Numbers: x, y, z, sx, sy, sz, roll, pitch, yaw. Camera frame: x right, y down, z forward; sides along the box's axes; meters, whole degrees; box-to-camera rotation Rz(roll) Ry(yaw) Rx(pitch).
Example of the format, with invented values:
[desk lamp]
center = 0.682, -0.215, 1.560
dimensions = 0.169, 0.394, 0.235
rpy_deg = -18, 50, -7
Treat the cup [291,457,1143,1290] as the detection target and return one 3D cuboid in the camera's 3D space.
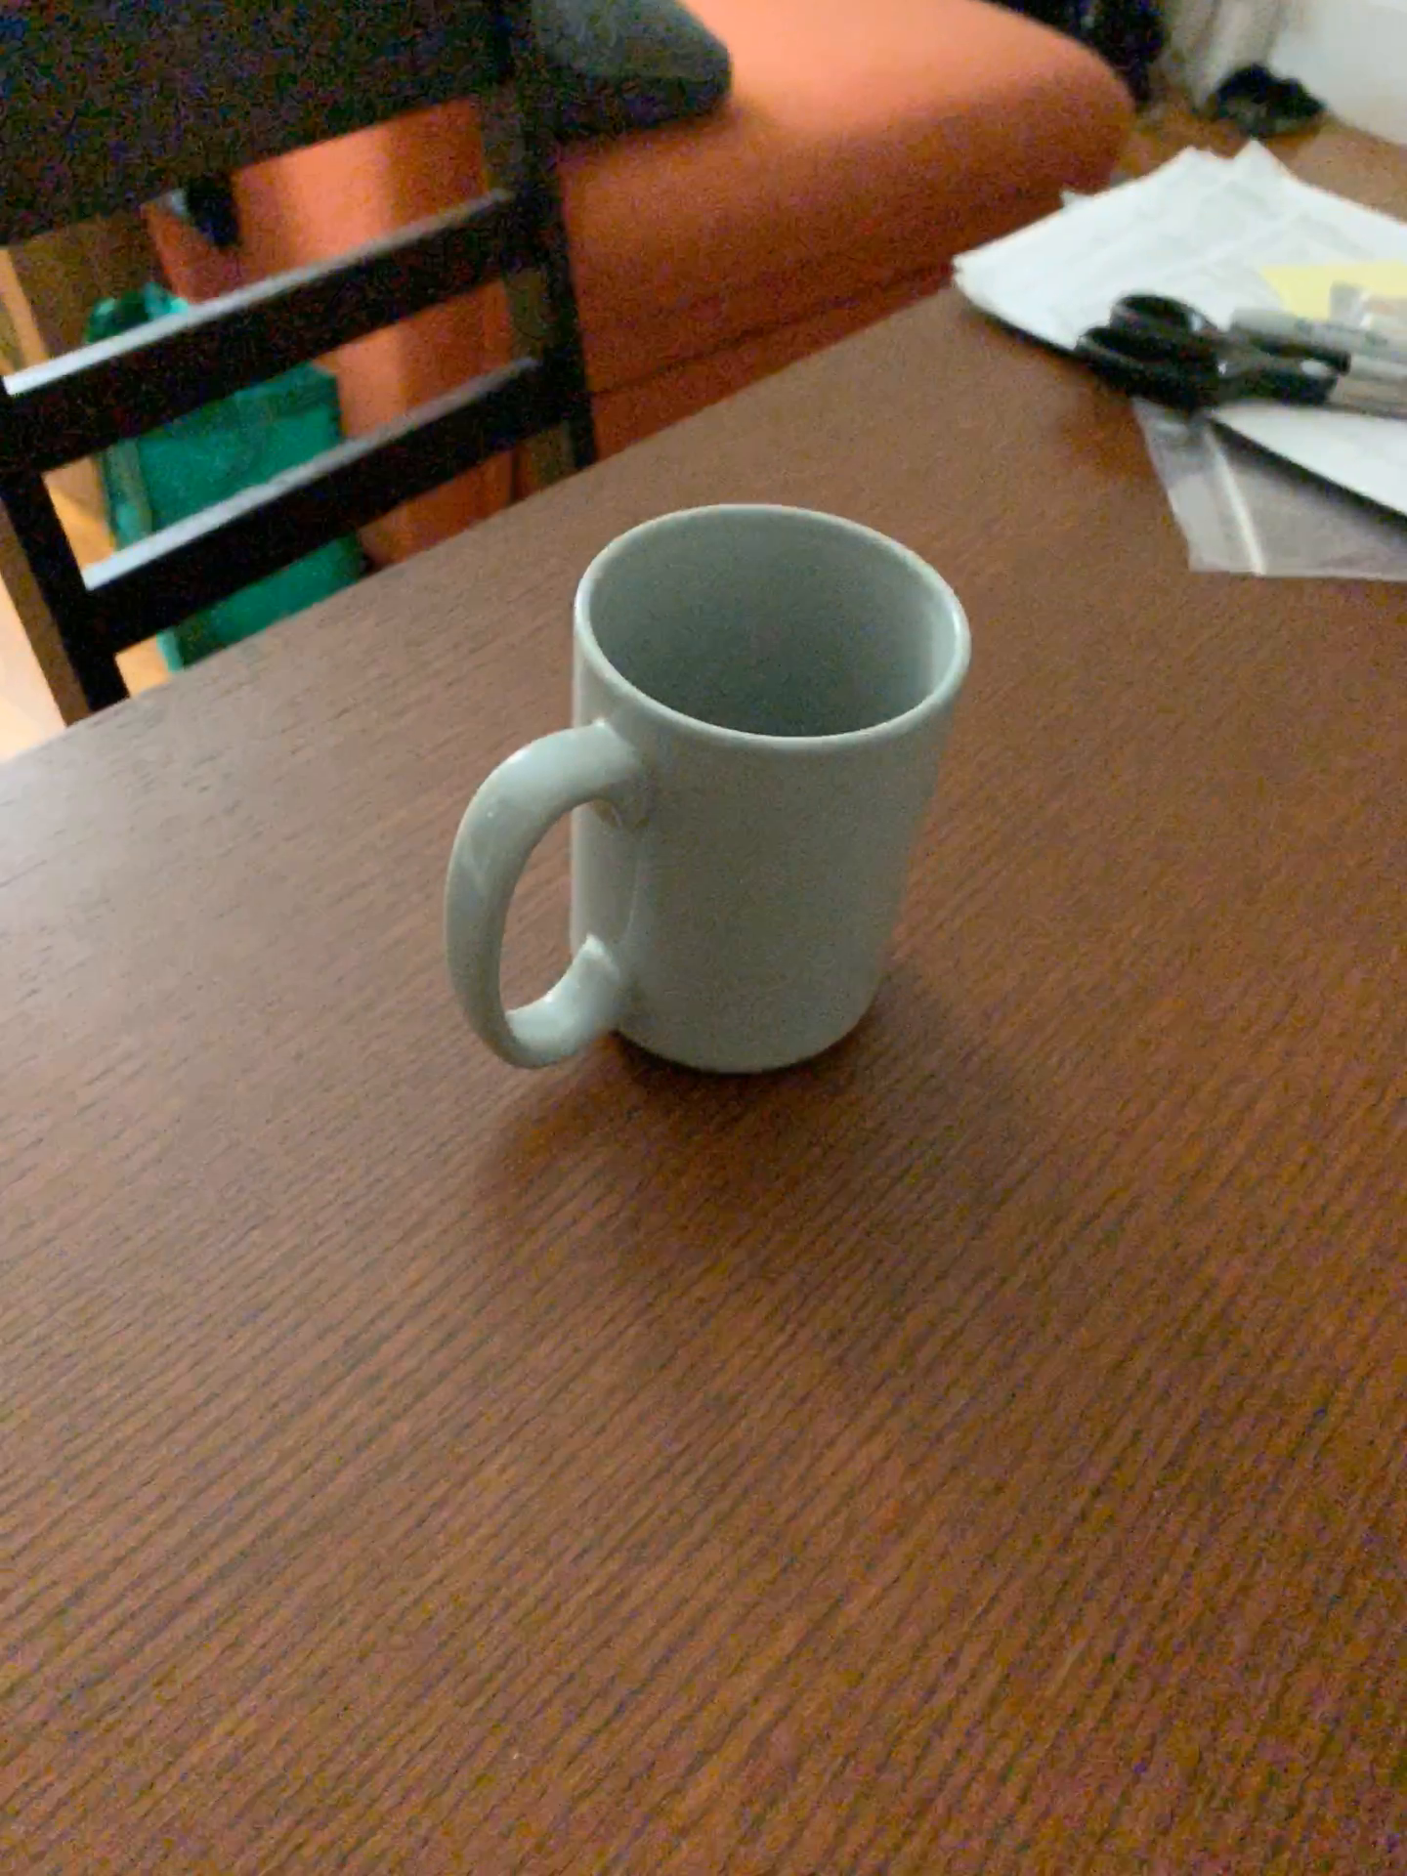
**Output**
[cup]
center = 0.000, -0.019, 0.334
dimensions = 0.140, 0.109, 0.100
rpy_deg = -26, 57, -27
